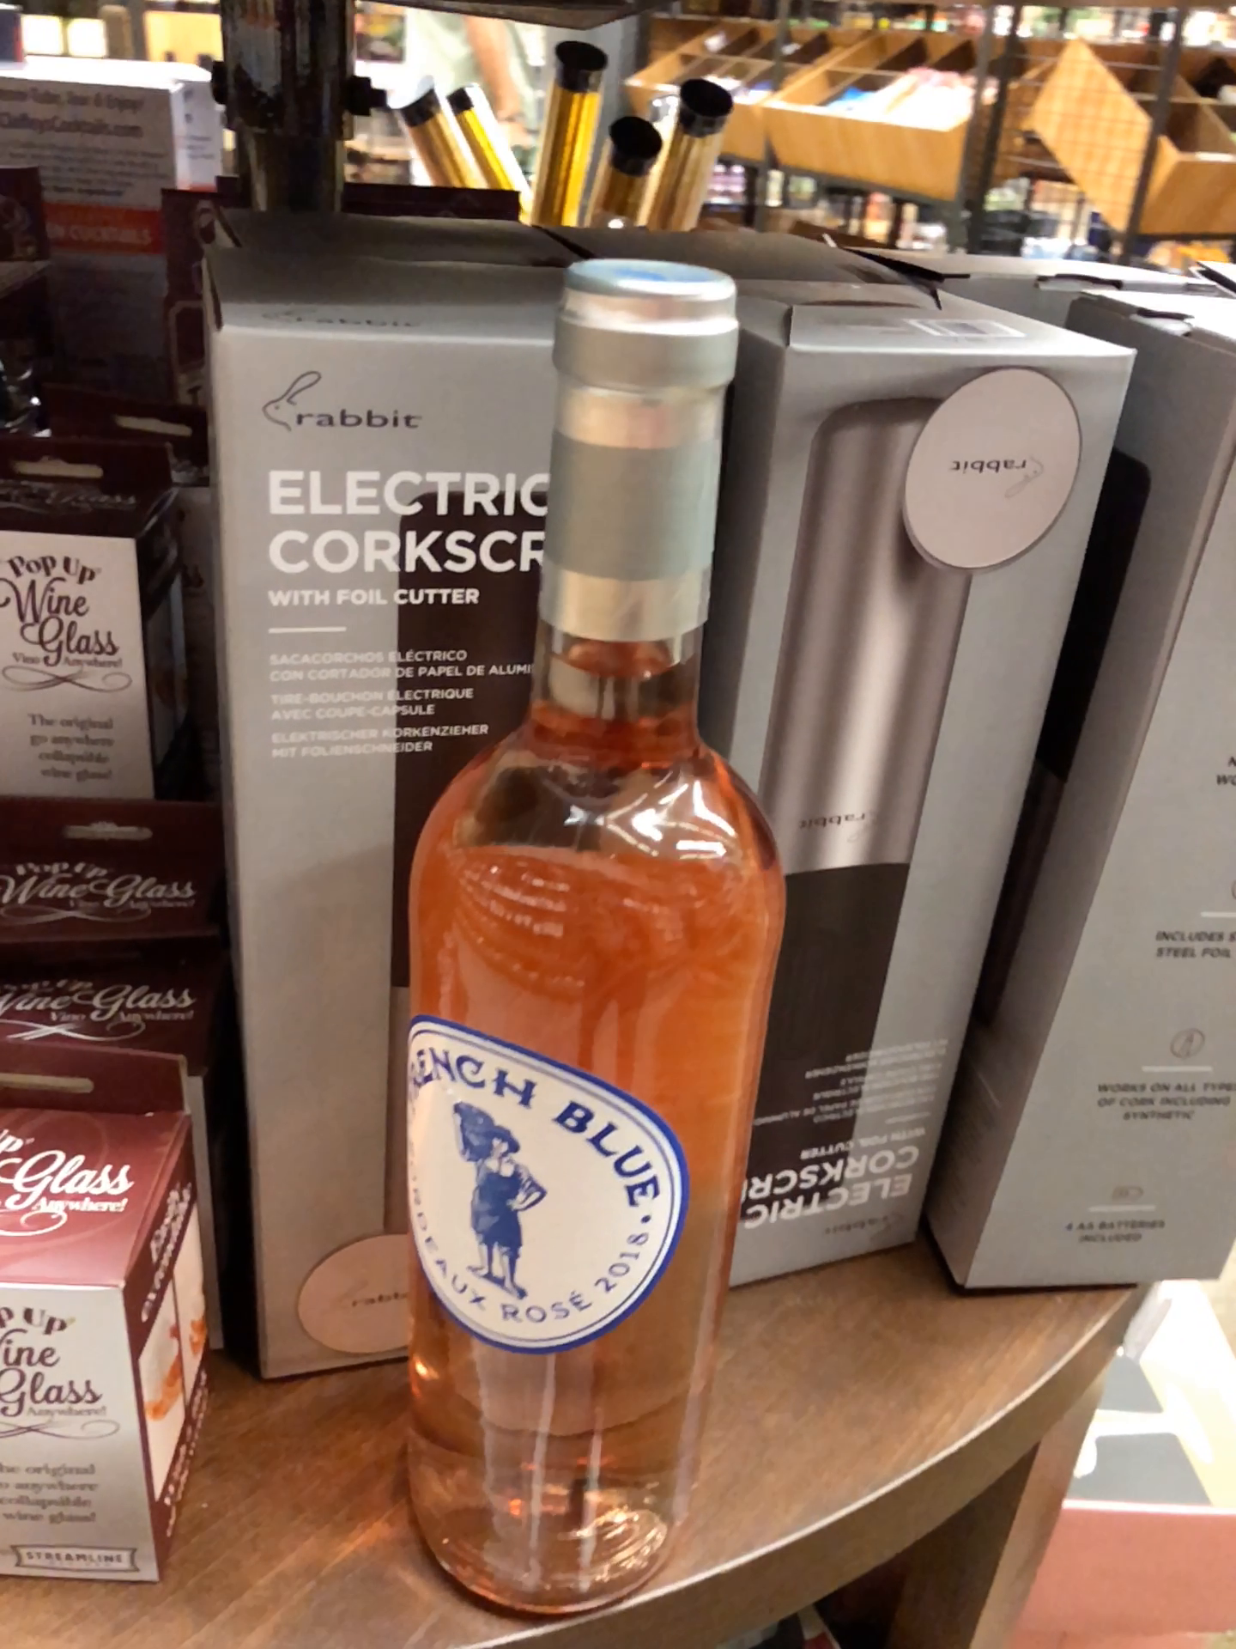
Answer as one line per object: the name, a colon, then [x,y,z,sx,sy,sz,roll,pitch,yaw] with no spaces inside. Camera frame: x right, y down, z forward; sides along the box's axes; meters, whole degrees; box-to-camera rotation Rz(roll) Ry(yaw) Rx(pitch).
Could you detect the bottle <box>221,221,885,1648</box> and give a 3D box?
bottle: [-0.013,0.042,0.278,0.078,0.289,0.080,3,29,-2]
